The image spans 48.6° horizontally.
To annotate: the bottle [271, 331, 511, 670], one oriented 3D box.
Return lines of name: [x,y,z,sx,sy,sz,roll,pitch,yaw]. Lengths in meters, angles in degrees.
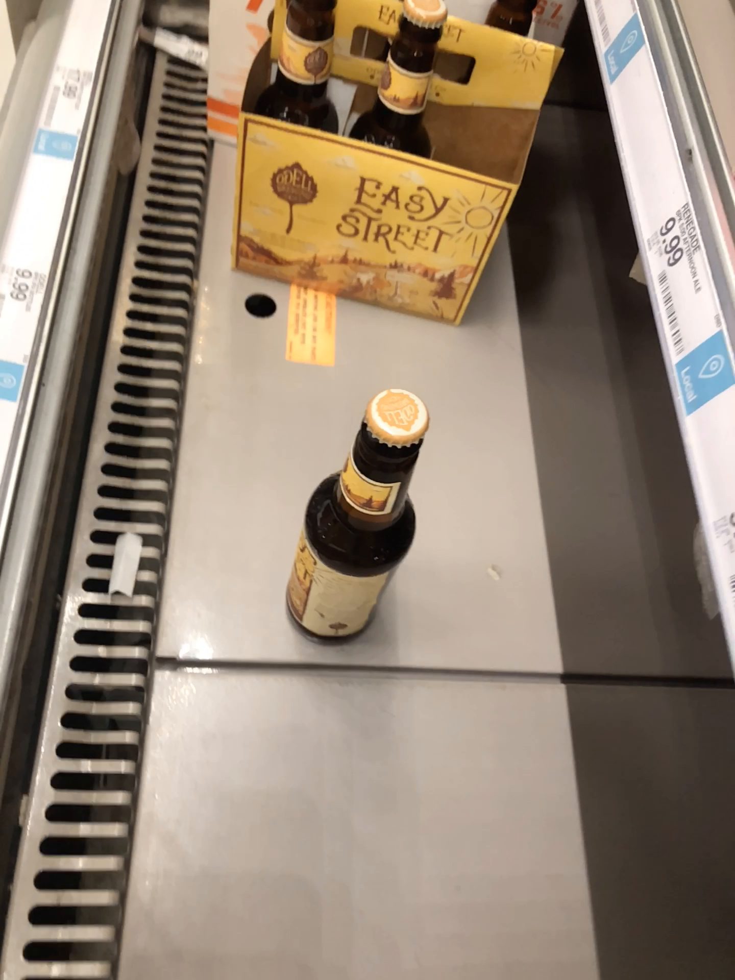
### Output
bottle: [0.000,0.023,0.439,0.070,0.229,0.066,5,61,-9]
